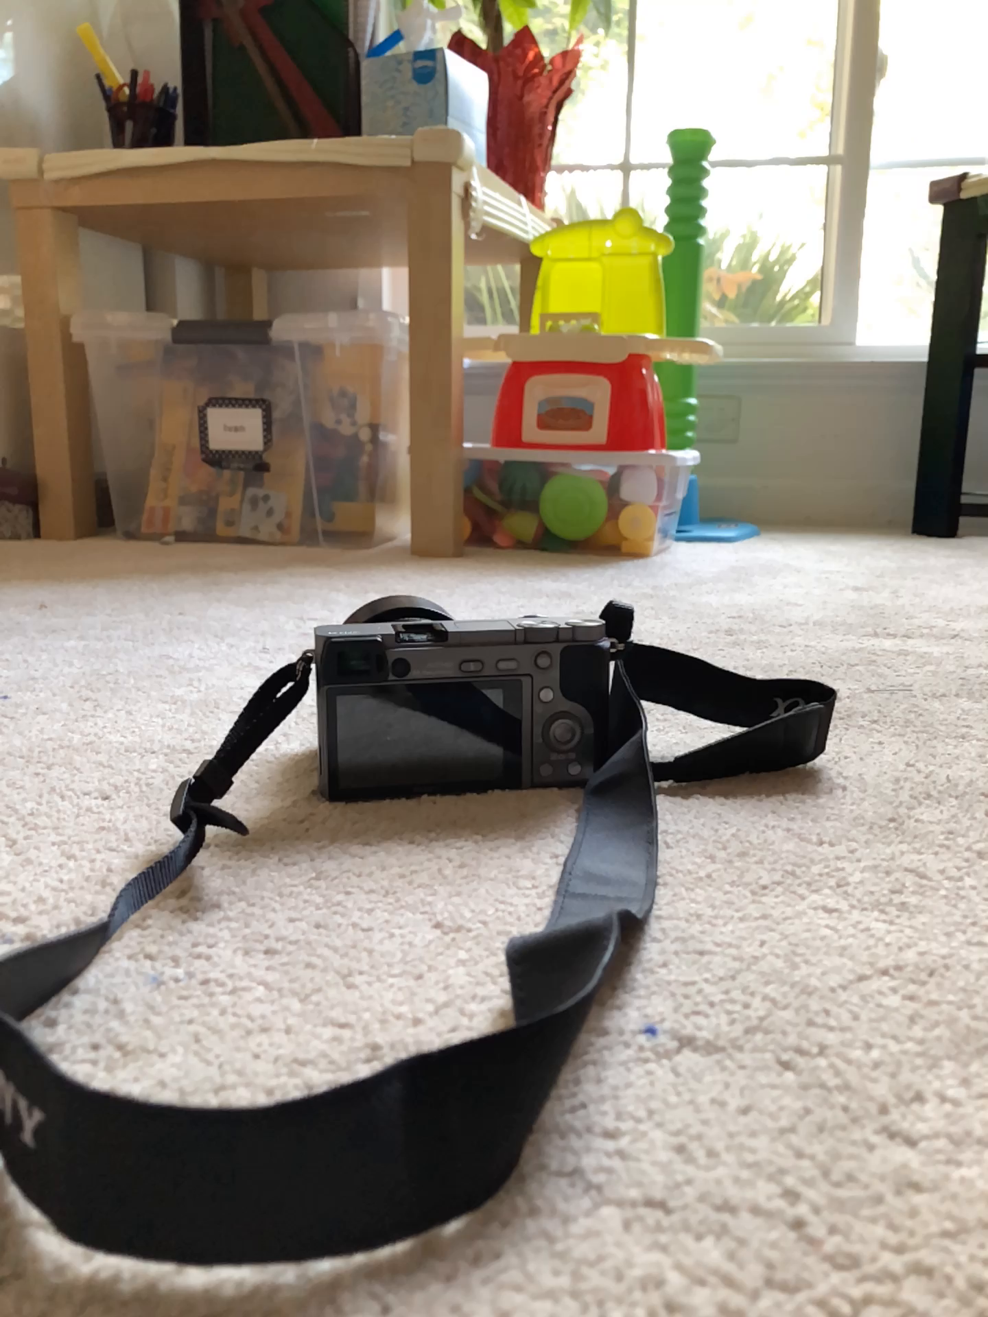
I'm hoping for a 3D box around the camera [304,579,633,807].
[{"bbox_3d":[-0.016,0.009,0.453,0.120,0.070,0.100,-2,11,-11],"label":"camera"}]
